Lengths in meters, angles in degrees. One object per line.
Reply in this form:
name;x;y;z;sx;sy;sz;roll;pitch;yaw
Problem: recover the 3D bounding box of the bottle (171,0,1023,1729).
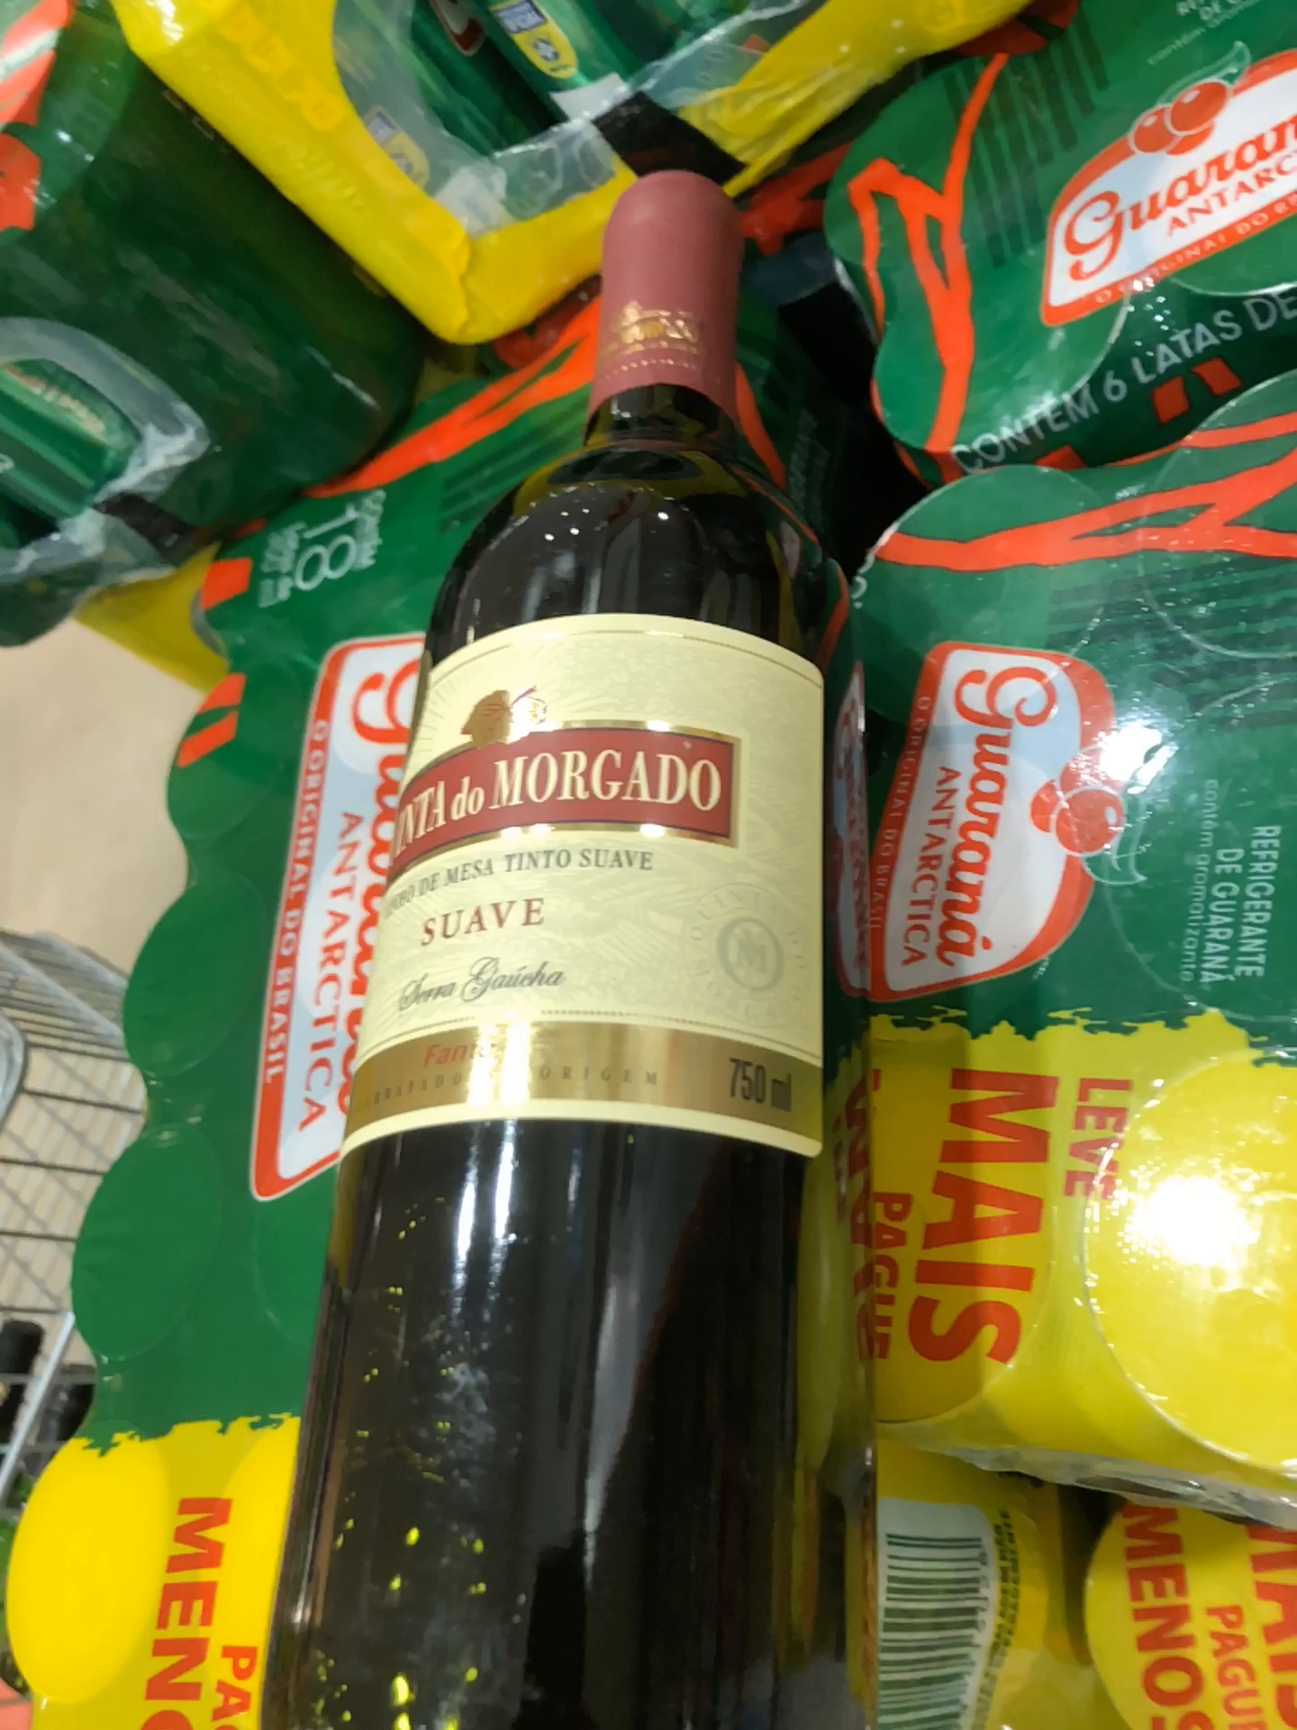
bottle;0.003;-0.009;0.225;0.080;0.070;0.271;-7;64;17
